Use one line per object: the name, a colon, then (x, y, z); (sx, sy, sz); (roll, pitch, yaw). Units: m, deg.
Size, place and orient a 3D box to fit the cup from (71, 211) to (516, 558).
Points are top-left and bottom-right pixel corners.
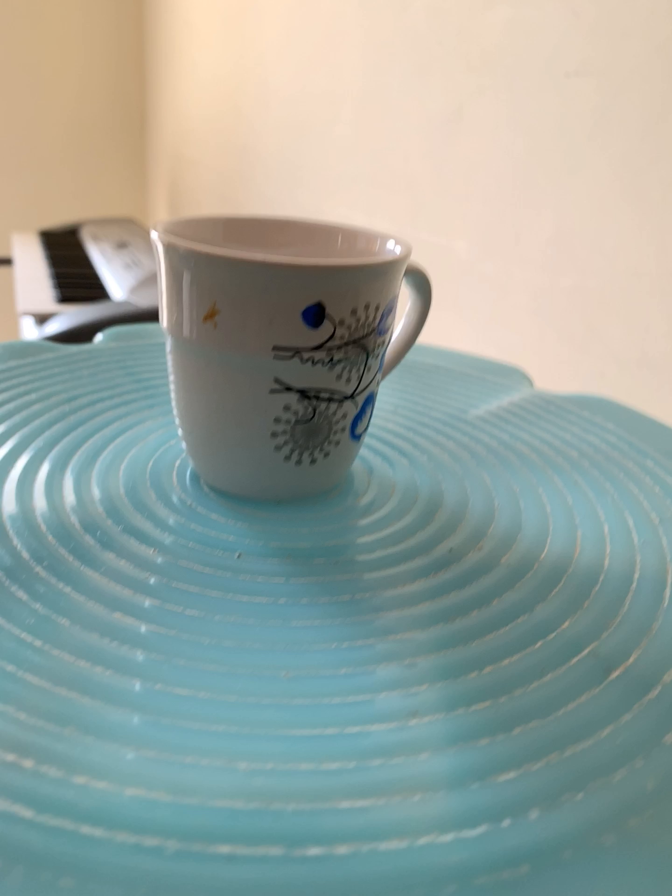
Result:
cup: (-0.009, -0.027, 0.191); (0.070, 0.060, 0.090); (22, 29, 34)
